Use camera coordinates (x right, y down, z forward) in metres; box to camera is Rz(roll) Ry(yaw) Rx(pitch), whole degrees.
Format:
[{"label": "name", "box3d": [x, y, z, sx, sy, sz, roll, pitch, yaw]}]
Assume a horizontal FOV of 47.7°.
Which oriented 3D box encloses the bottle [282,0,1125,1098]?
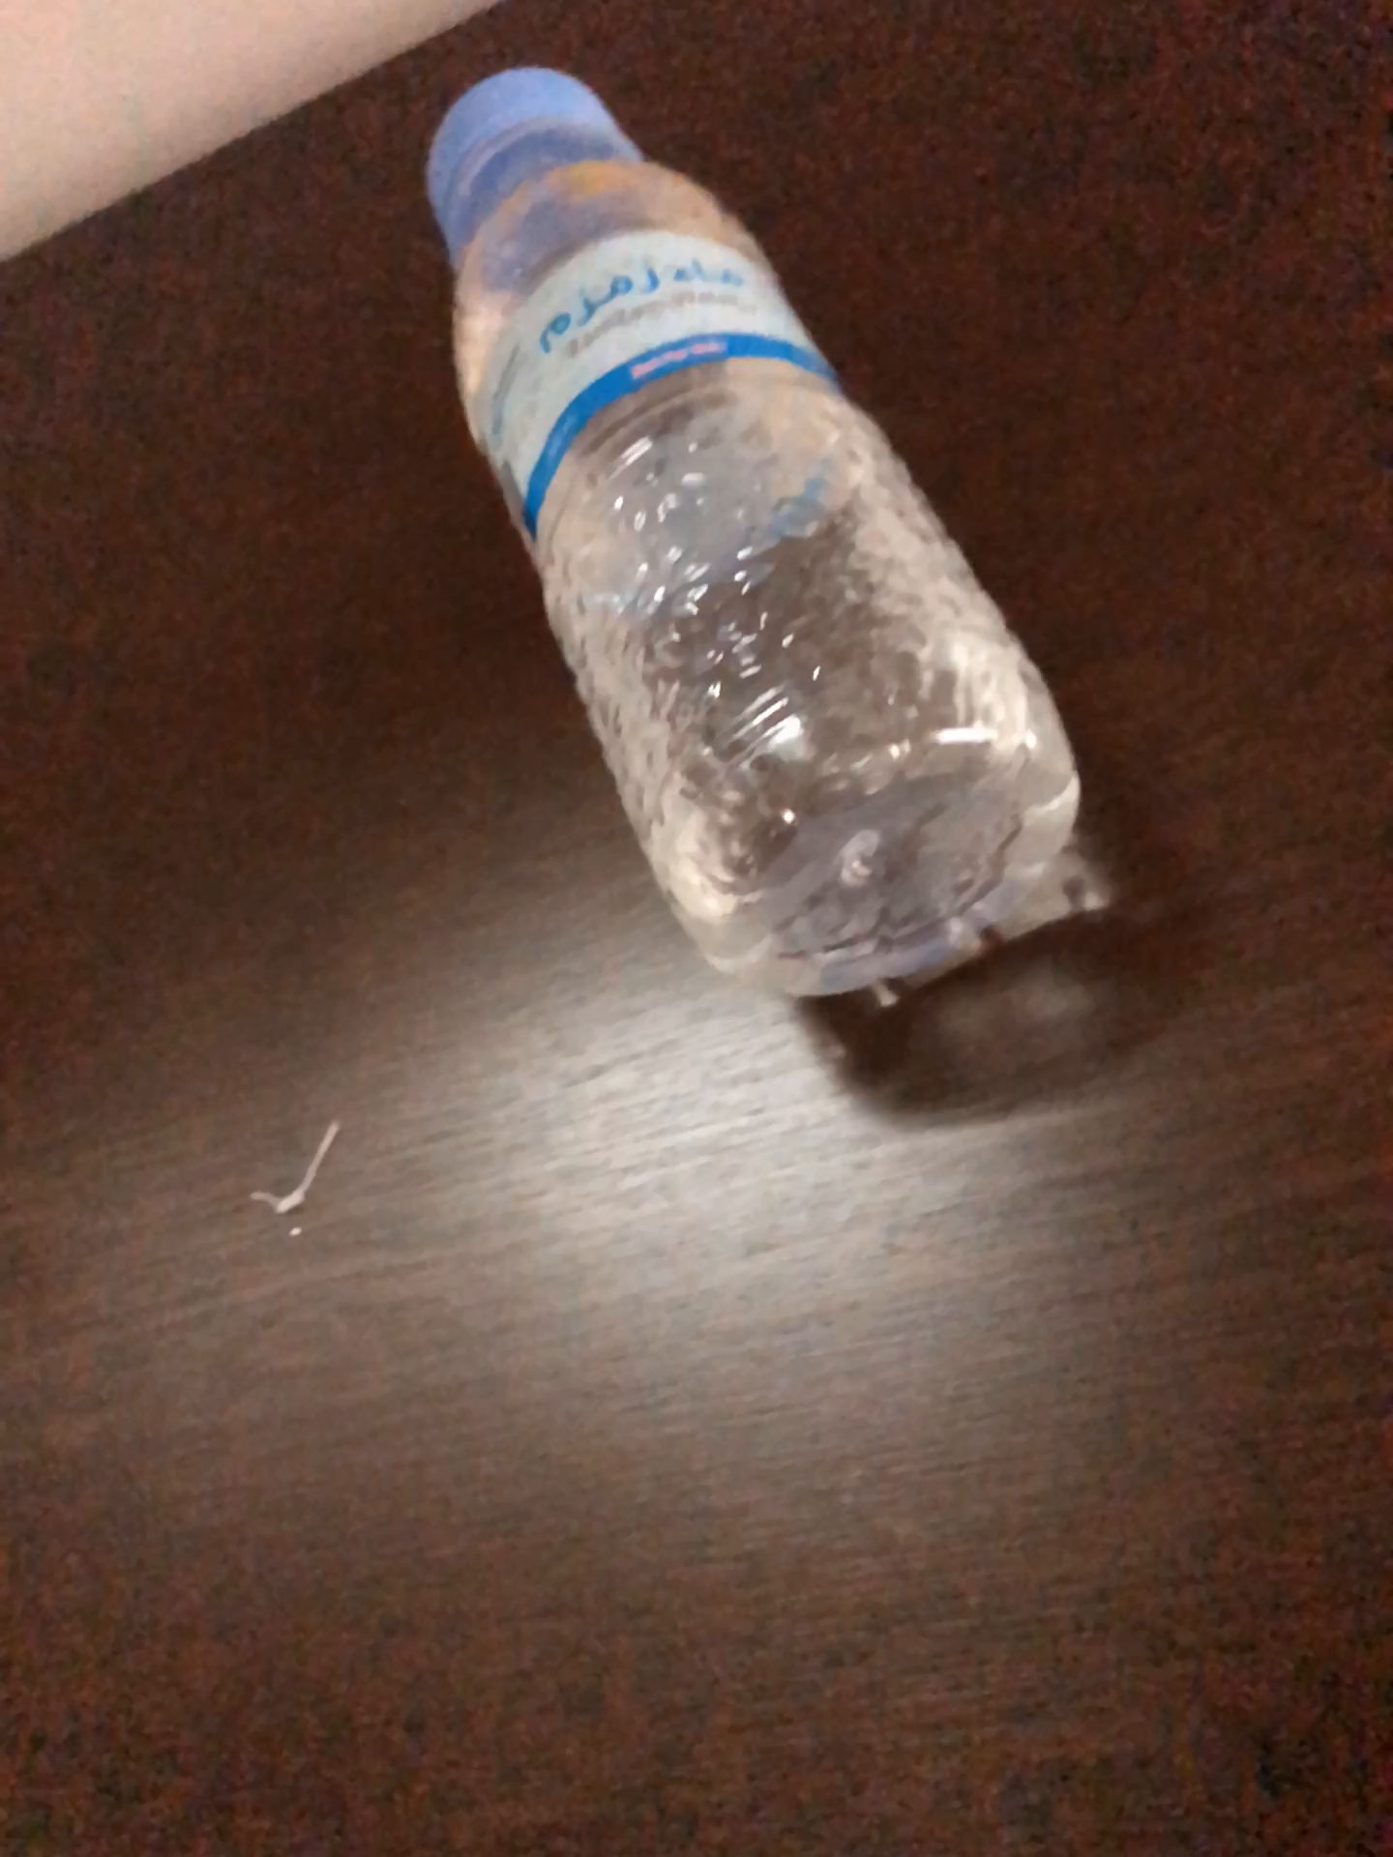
[{"label": "bottle", "box3d": [-0.005, -0.063, 0.213, 0.050, 0.050, 0.160, -25, 57, 1]}]
